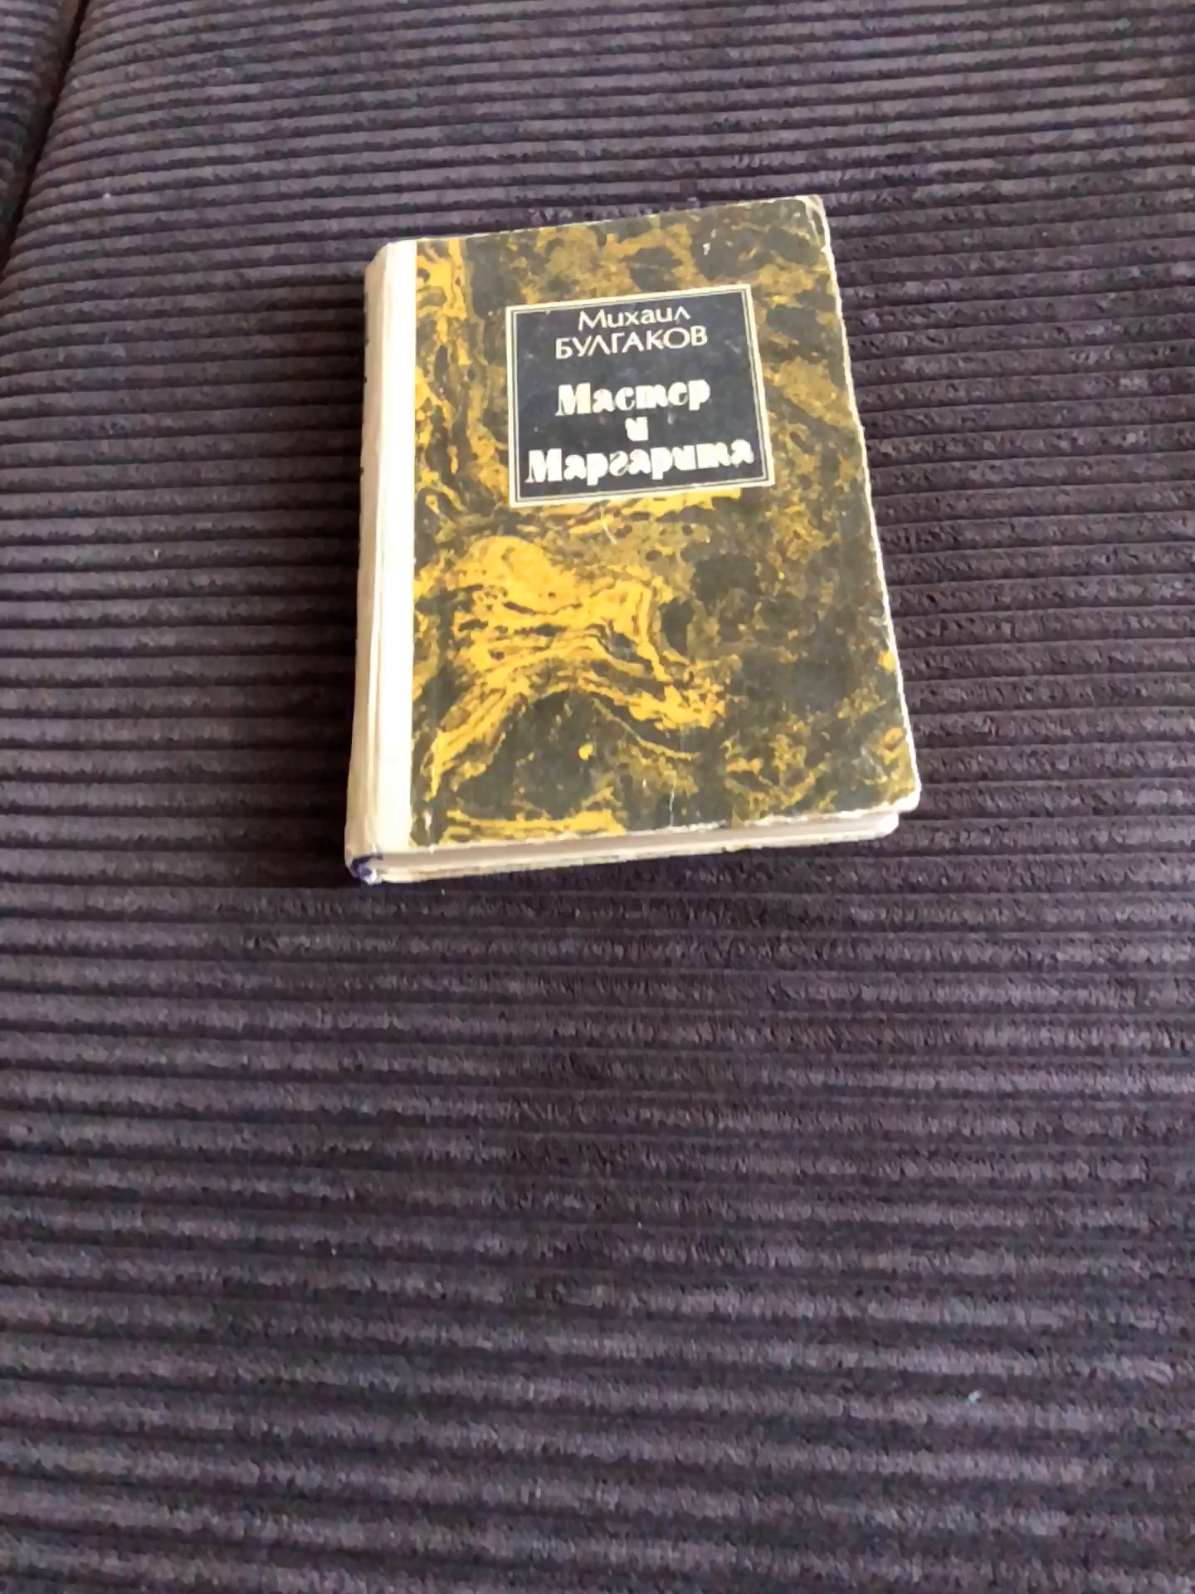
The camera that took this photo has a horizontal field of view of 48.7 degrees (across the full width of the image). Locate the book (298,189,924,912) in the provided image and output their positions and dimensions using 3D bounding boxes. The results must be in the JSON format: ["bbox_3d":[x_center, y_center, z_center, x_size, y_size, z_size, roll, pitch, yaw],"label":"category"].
[{"bbox_3d":[-0.002,-0.081,0.389,0.154,0.035,0.221,-5,63,3],"label":"book"}]
